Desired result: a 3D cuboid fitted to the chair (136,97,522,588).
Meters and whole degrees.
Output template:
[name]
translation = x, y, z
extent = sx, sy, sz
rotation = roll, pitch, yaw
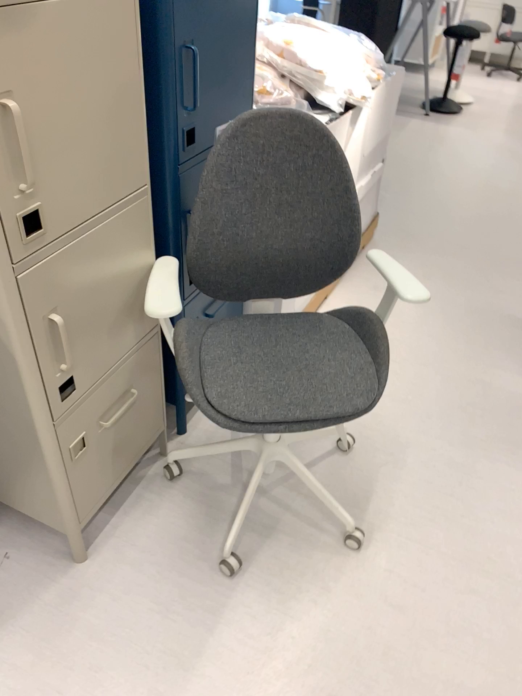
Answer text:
[chair]
translation = 0.056, -0.007, 1.363
extent = 0.650, 0.996, 0.673
rotation = -4, 40, -11
